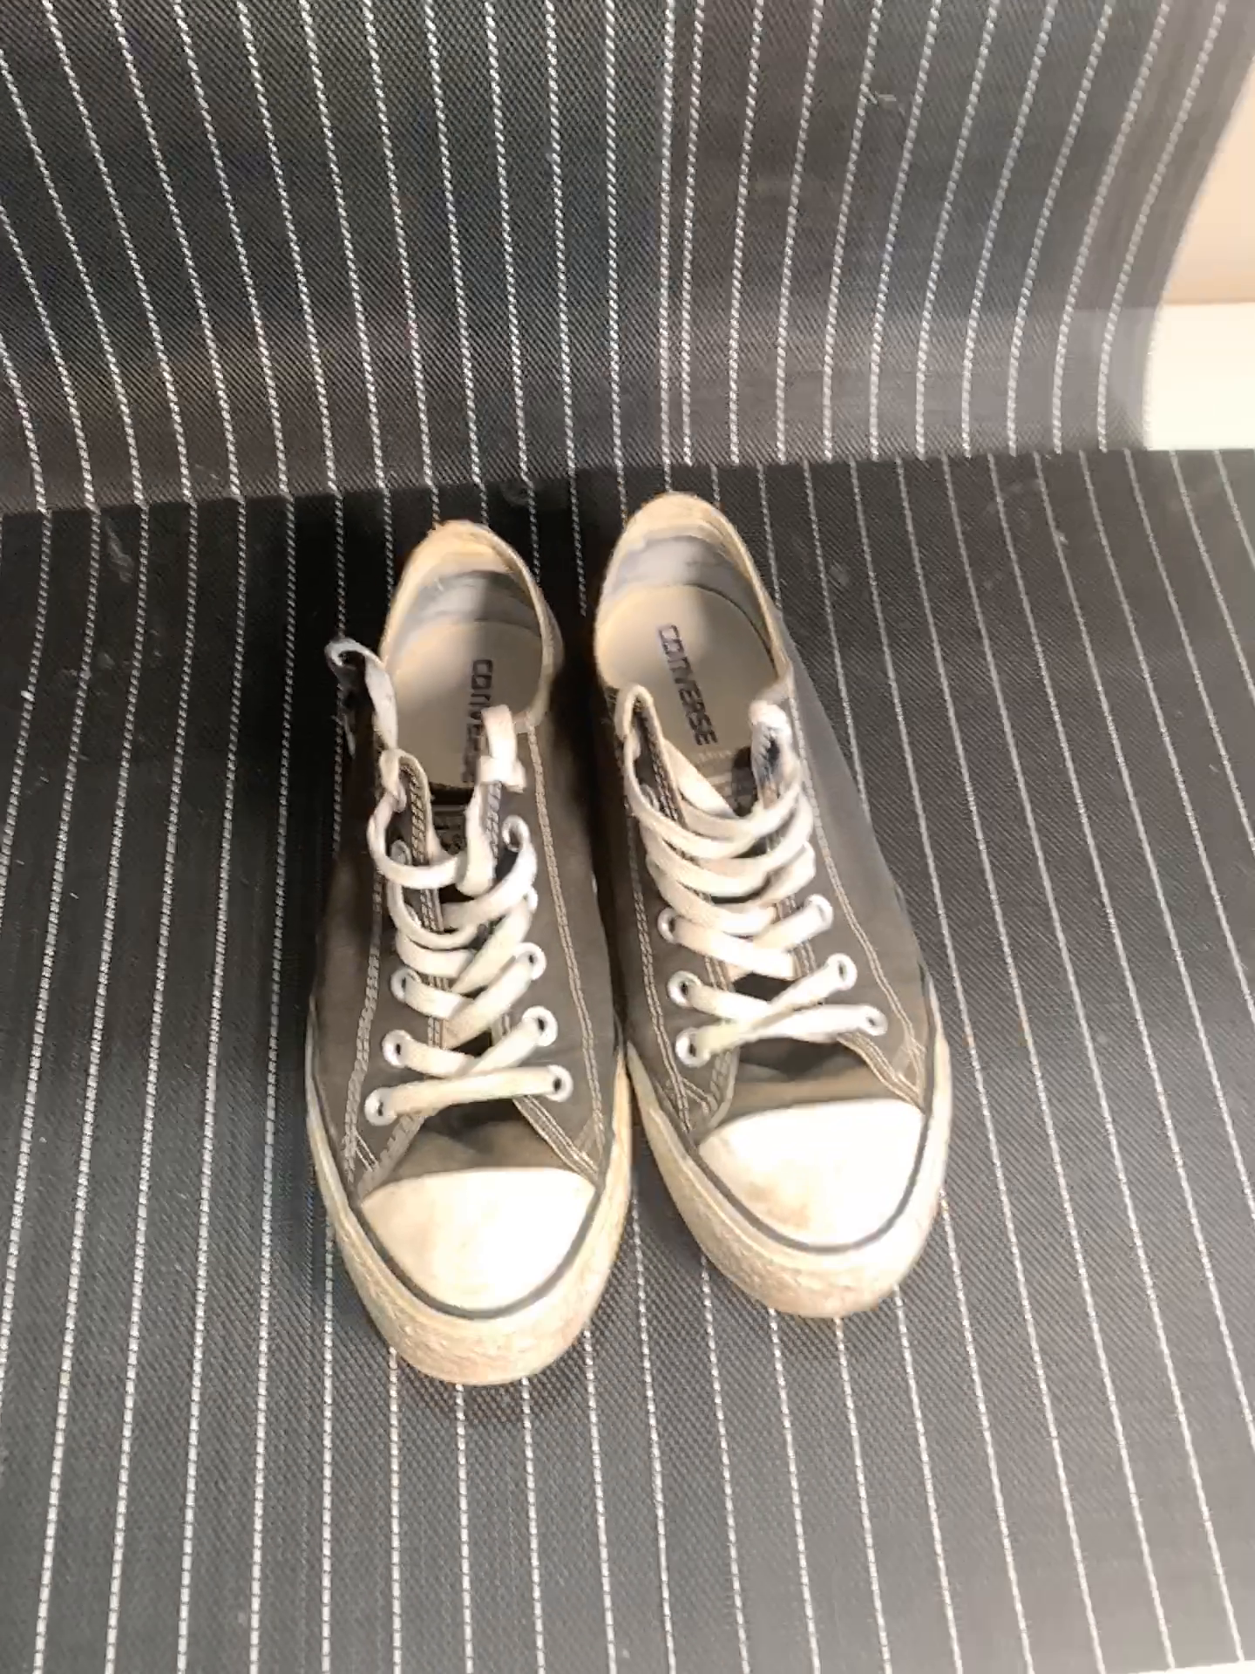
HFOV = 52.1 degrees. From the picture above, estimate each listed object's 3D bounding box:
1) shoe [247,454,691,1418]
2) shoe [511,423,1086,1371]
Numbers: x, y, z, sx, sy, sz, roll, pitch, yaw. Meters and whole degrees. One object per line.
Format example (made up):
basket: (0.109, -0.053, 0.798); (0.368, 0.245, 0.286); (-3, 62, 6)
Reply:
shoe: (-0.053, 0.019, 0.422); (0.110, 0.080, 0.301); (-4, 63, -3)
shoe: (0.039, 0.007, 0.434); (0.110, 0.080, 0.301); (-9, 64, -6)
